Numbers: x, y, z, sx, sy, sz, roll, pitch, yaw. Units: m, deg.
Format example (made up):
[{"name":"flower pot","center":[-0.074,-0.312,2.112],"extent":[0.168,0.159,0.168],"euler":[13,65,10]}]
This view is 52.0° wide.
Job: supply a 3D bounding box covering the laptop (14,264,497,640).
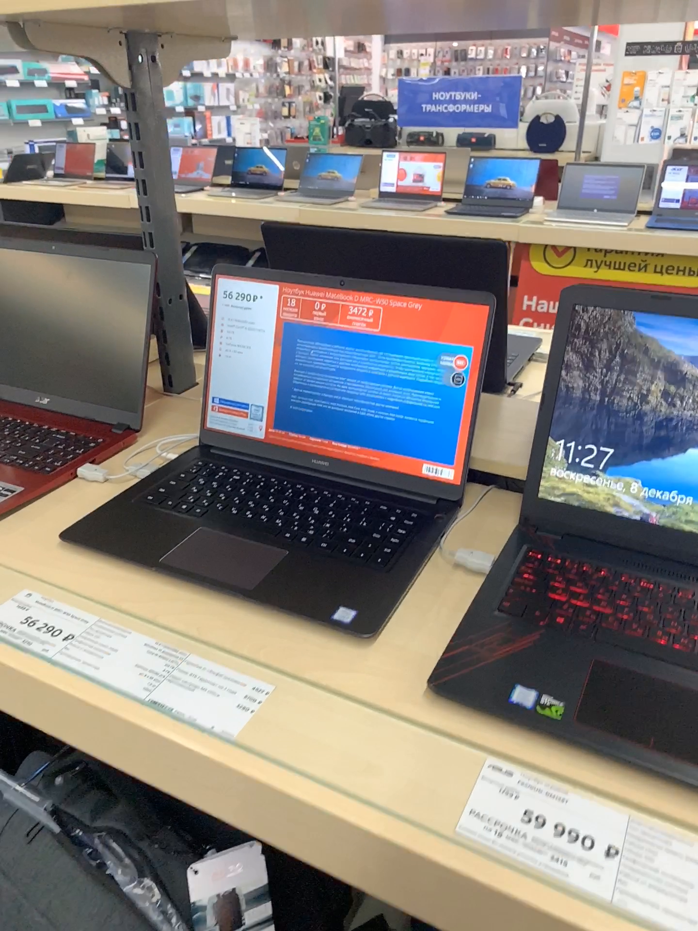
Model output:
[{"name":"laptop","center":[-0.072,-0.051,0.726],"extent":[0.348,0.209,0.304],"euler":[12,30,24]}]
